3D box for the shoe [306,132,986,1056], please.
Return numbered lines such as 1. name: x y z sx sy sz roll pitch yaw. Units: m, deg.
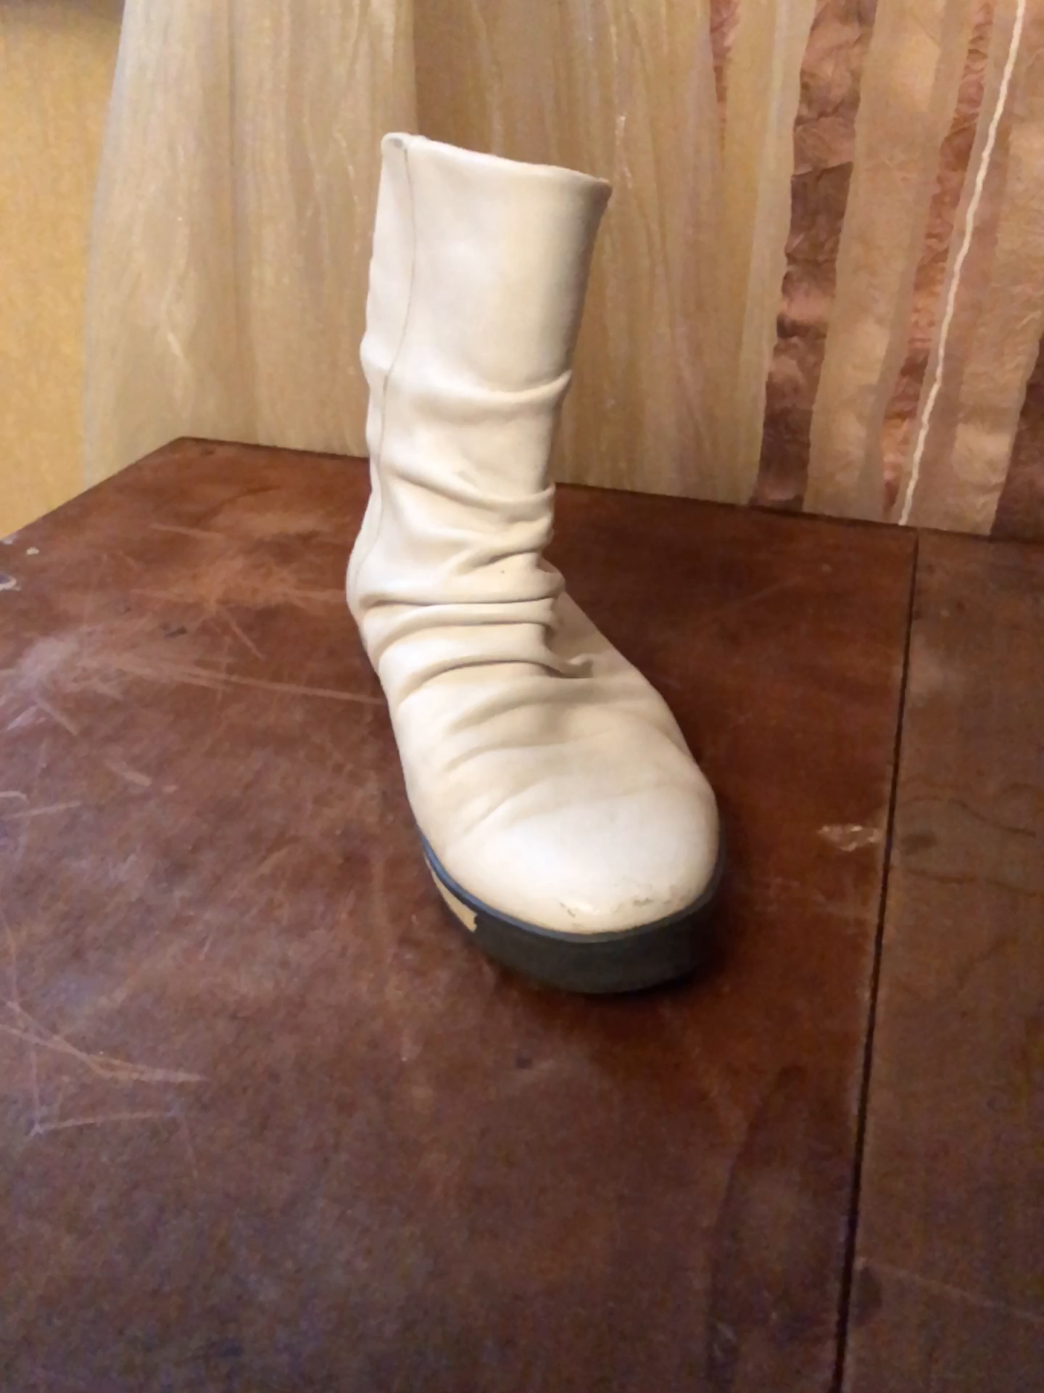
1. shoe: 0.003 -0.056 0.335 0.090 0.169 0.241 -7 32 -14
